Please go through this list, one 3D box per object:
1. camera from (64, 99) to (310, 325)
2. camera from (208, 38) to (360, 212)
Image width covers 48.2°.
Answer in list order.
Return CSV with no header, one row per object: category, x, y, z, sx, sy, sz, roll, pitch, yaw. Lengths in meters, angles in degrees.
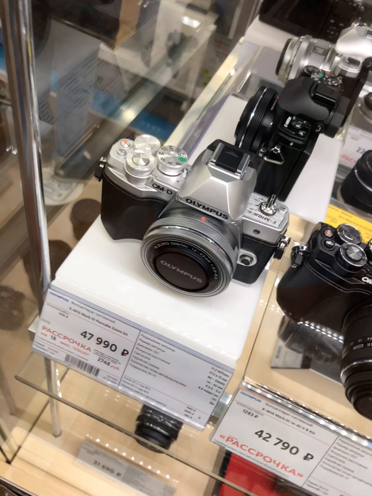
camera,-0.001,-0.023,0.258,0.122,0.067,0.073,24,51,4
camera,0.081,-0.102,0.337,0.078,0.068,0.109,25,51,5
